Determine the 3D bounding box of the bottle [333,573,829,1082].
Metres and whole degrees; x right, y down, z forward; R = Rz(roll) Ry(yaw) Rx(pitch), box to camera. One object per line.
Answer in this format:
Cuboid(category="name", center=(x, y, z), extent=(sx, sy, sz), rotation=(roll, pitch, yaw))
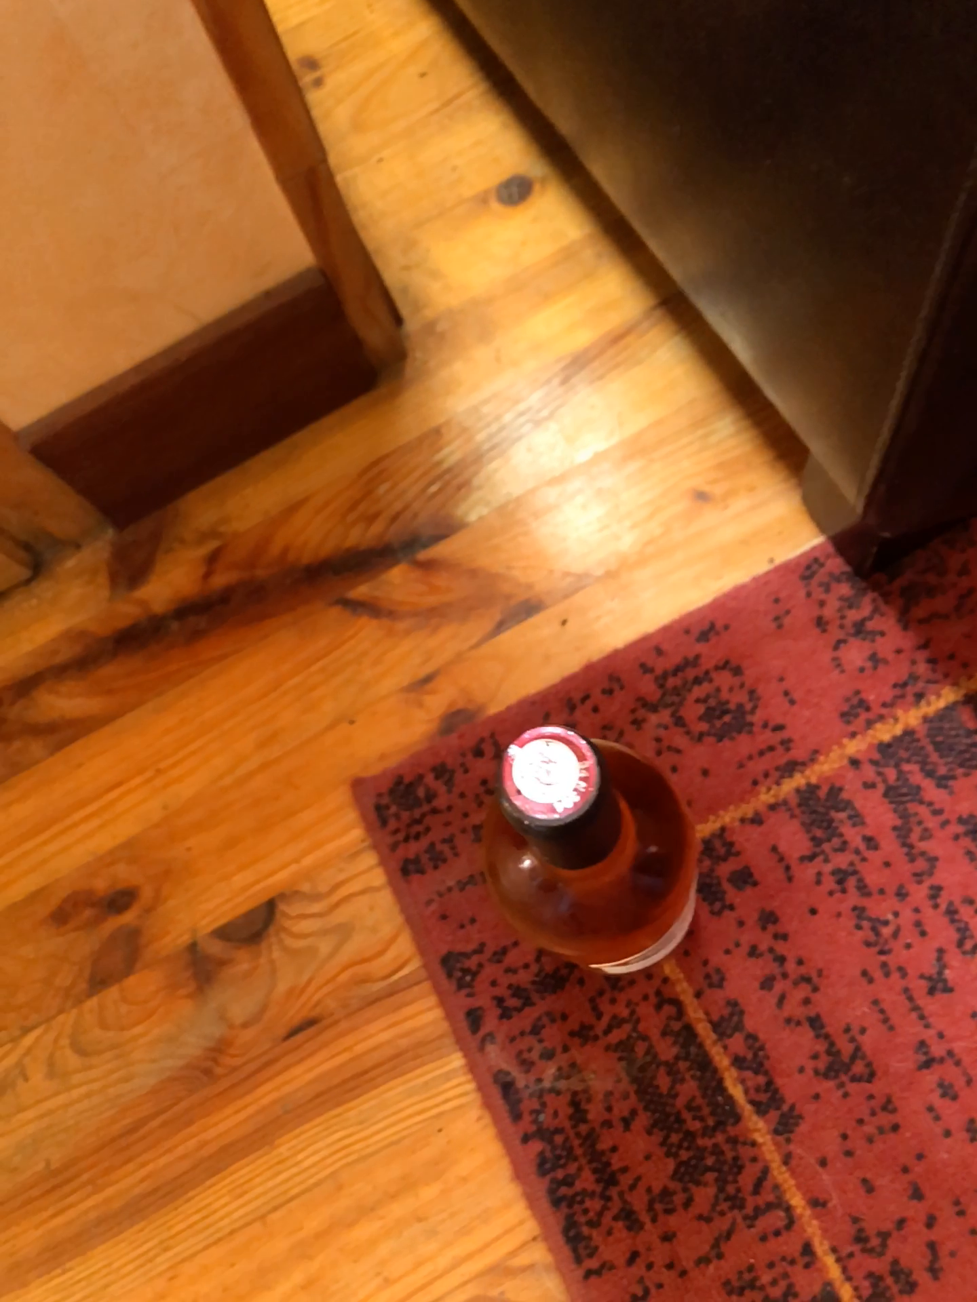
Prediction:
Cuboid(category="bottle", center=(0.046, 0.082, 0.402), extent=(0.080, 0.310, 0.090), rotation=(34, 81, 18))
